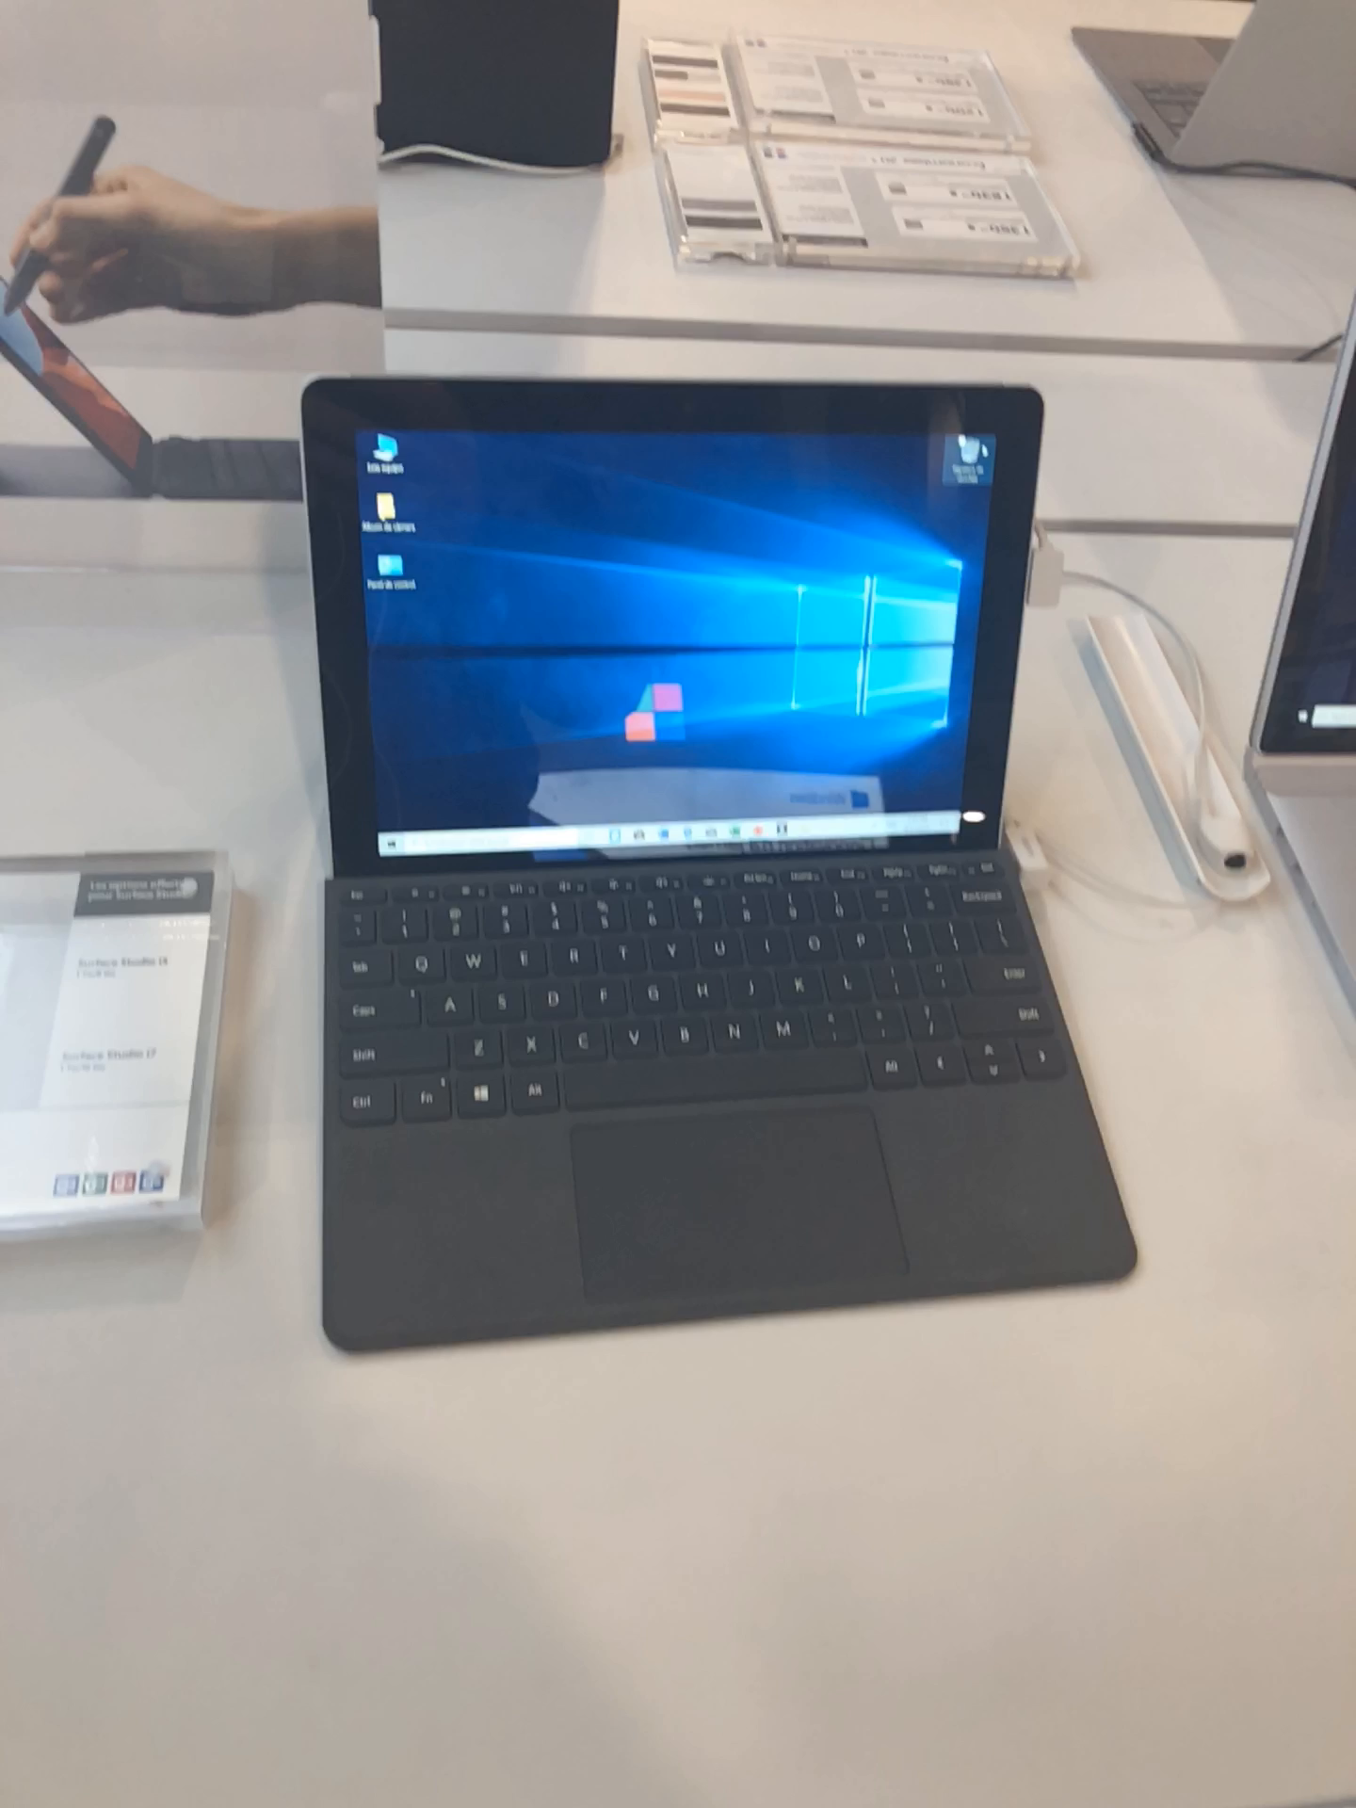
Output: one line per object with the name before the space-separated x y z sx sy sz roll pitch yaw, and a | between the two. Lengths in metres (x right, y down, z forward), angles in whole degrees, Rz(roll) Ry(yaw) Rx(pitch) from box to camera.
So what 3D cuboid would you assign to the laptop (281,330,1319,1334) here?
laptop | 0.009 -0.031 0.456 0.236 0.140 0.251 -3 54 -12
